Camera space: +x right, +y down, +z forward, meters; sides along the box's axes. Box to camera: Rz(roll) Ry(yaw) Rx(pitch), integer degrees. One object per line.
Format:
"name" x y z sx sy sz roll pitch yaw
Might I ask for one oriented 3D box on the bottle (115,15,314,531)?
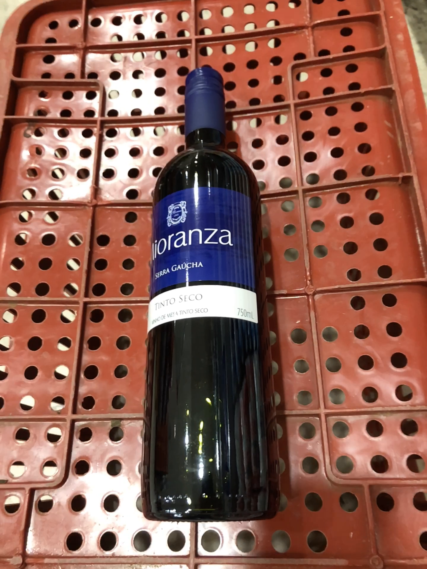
"bottle" -0.003 -0.020 0.294 0.080 0.060 0.301 -13 65 24
